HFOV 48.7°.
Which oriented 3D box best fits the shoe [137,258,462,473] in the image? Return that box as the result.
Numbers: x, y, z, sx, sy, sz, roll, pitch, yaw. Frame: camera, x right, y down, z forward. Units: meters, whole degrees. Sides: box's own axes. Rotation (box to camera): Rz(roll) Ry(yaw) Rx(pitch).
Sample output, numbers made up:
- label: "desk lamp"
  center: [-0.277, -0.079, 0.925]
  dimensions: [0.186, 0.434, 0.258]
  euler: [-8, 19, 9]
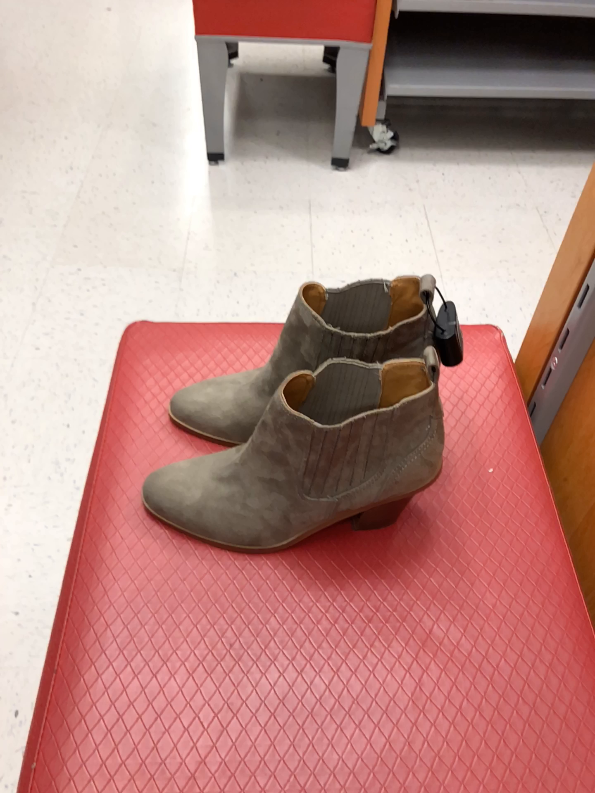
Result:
- label: "shoe"
  center: [0.001, -0.024, 0.597]
  dimensions: [0.250, 0.160, 0.097]
  euler: [3, 48, 0]

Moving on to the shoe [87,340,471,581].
- label: "shoe"
  center: [-0.013, 0.054, 0.518]
  dimensions: [0.250, 0.150, 0.107]
  euler: [3, 48, 0]
